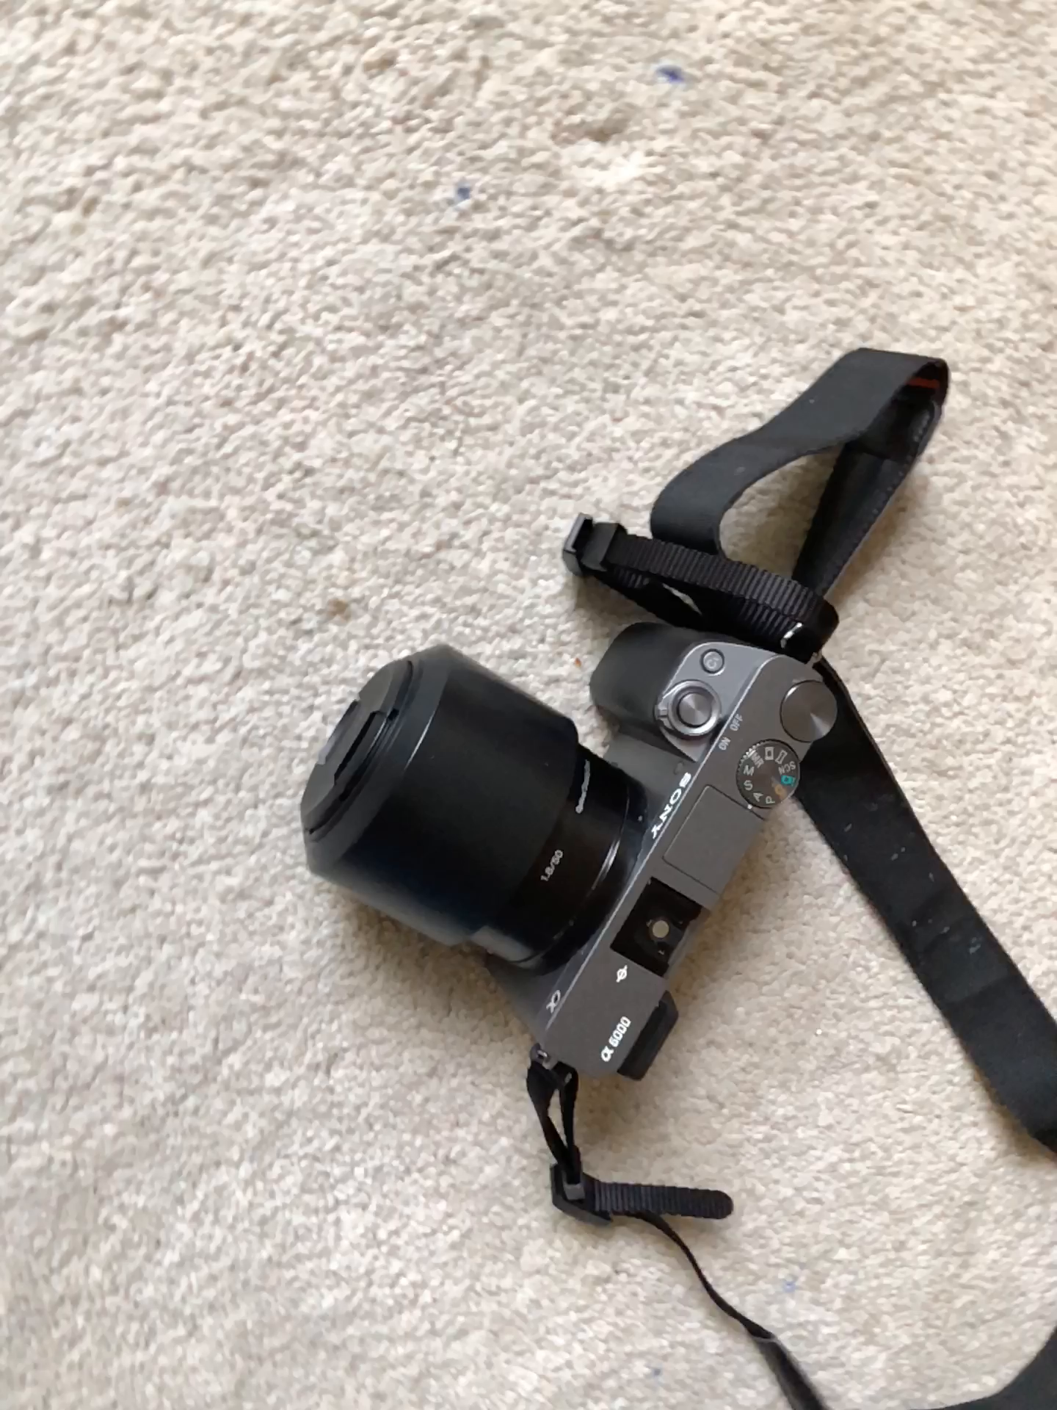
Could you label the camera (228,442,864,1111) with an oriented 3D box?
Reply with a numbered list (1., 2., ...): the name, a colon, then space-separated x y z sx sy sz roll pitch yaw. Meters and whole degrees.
1. camera: 0.000 0.016 0.299 0.100 0.070 0.120 32 87 -17
